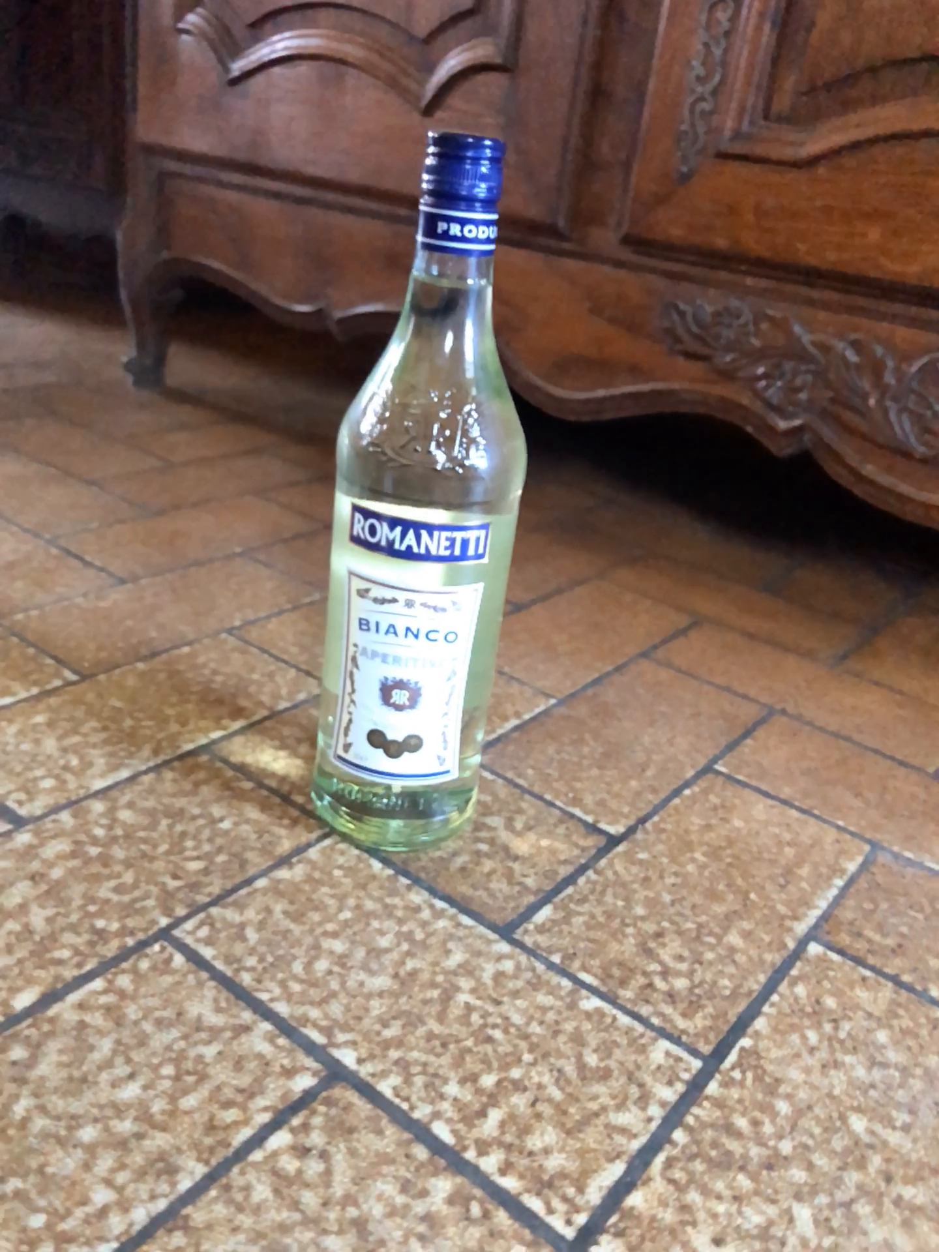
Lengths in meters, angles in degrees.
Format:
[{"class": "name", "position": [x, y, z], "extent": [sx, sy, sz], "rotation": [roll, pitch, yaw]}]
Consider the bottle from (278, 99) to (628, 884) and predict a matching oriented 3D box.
[{"class": "bottle", "position": [-0.013, -0.049, 0.444], "extent": [0.100, 0.298, 0.101], "rotation": [7, 24, -3]}]
